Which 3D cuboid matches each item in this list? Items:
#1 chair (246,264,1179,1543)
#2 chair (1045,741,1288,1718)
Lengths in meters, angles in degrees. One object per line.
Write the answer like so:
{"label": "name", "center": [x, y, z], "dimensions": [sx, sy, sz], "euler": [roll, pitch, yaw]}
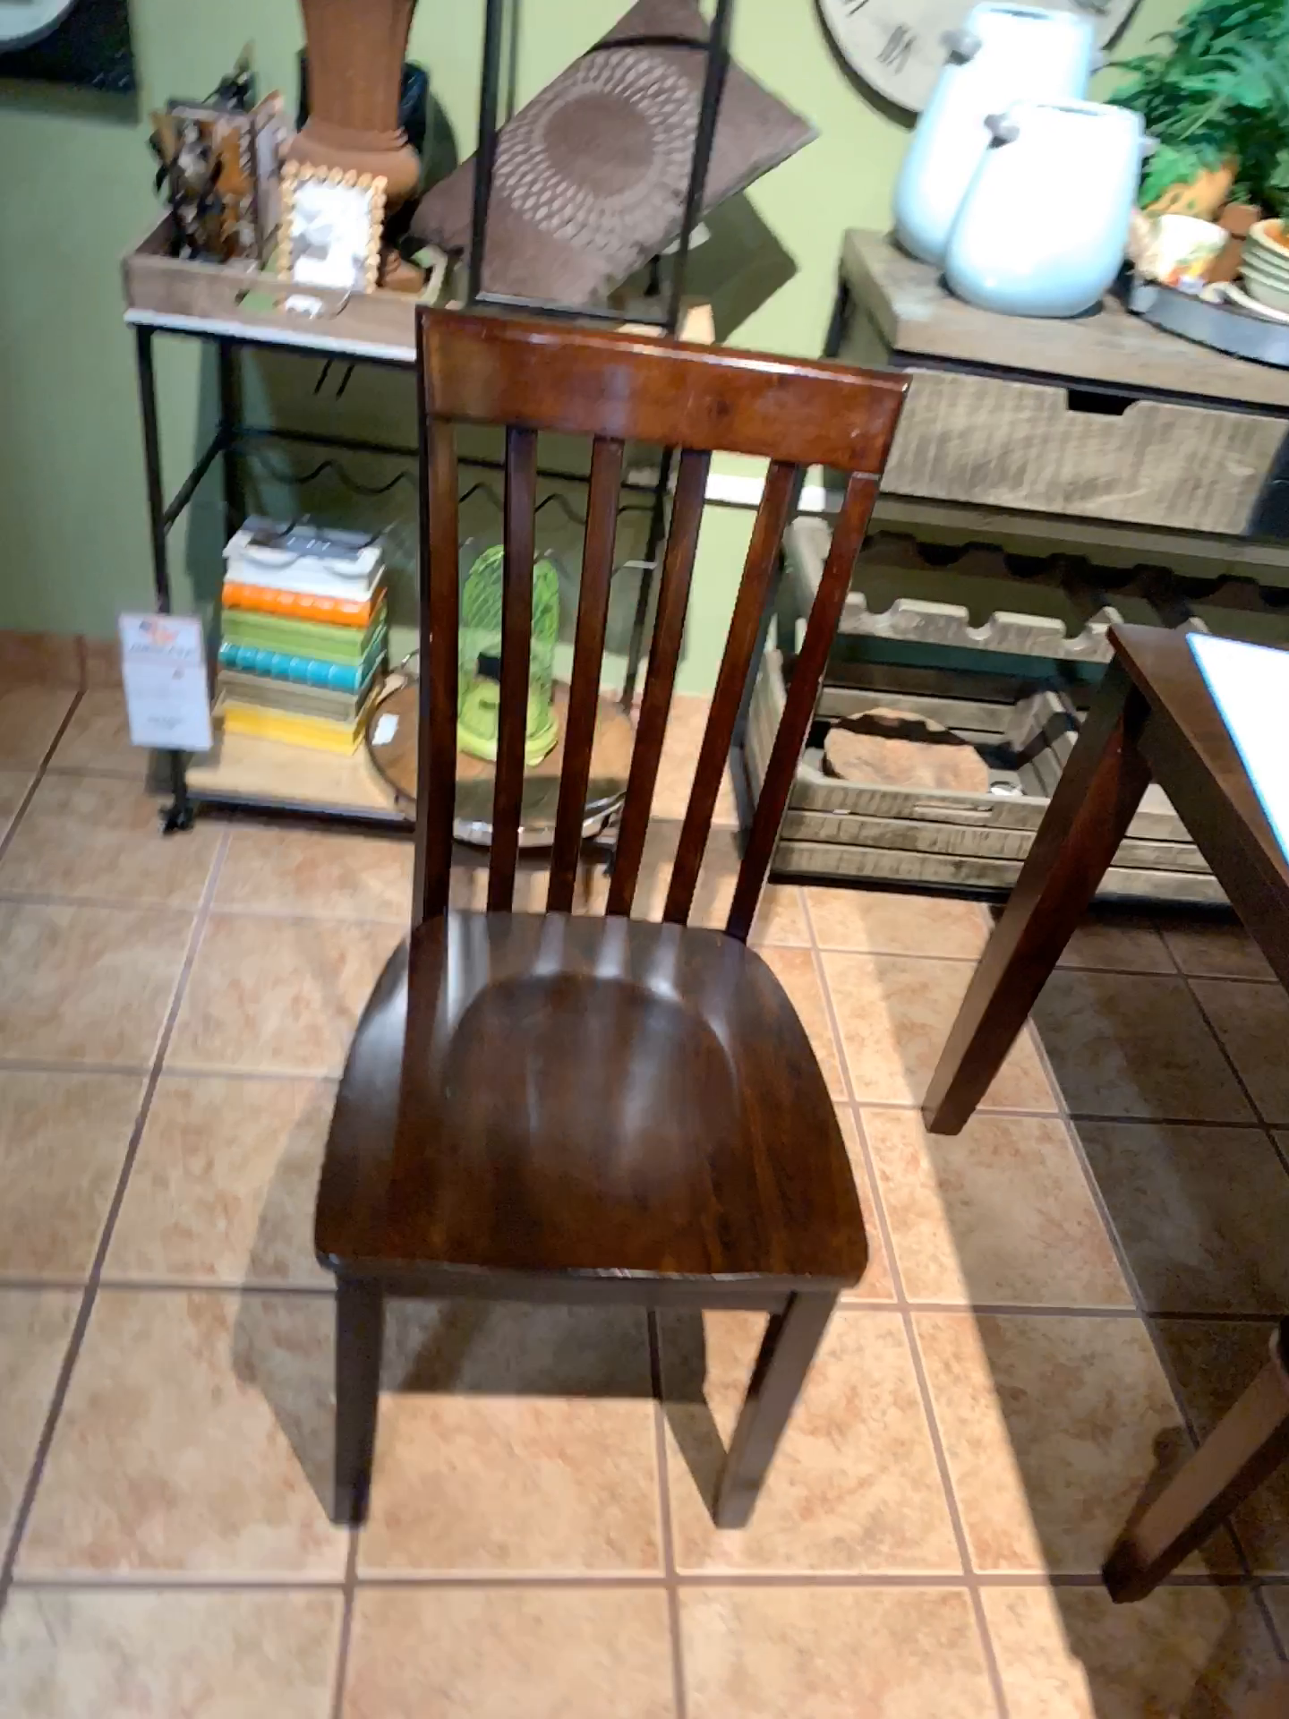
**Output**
{"label": "chair", "center": [-0.045, 0.086, 1.149], "dimensions": [0.461, 0.936, 0.587], "euler": [4, 39, -8]}
{"label": "chair", "center": [0.742, 0.485, 0.840], "dimensions": [0.461, 0.946, 0.577], "euler": [0, 40, -13]}
